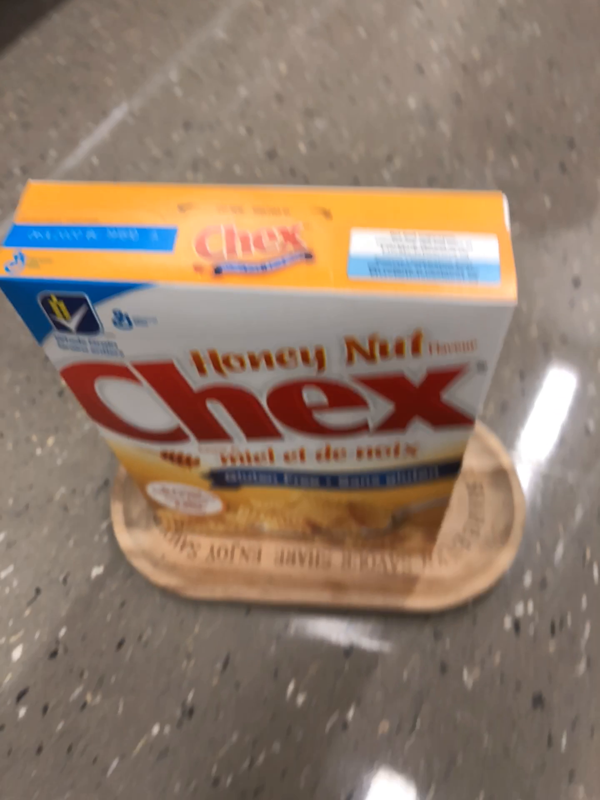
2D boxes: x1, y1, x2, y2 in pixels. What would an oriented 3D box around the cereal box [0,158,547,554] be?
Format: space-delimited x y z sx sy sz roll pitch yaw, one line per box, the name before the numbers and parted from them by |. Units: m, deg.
cereal box | -0.007 0.002 0.379 0.210 0.279 0.060 4 59 7
